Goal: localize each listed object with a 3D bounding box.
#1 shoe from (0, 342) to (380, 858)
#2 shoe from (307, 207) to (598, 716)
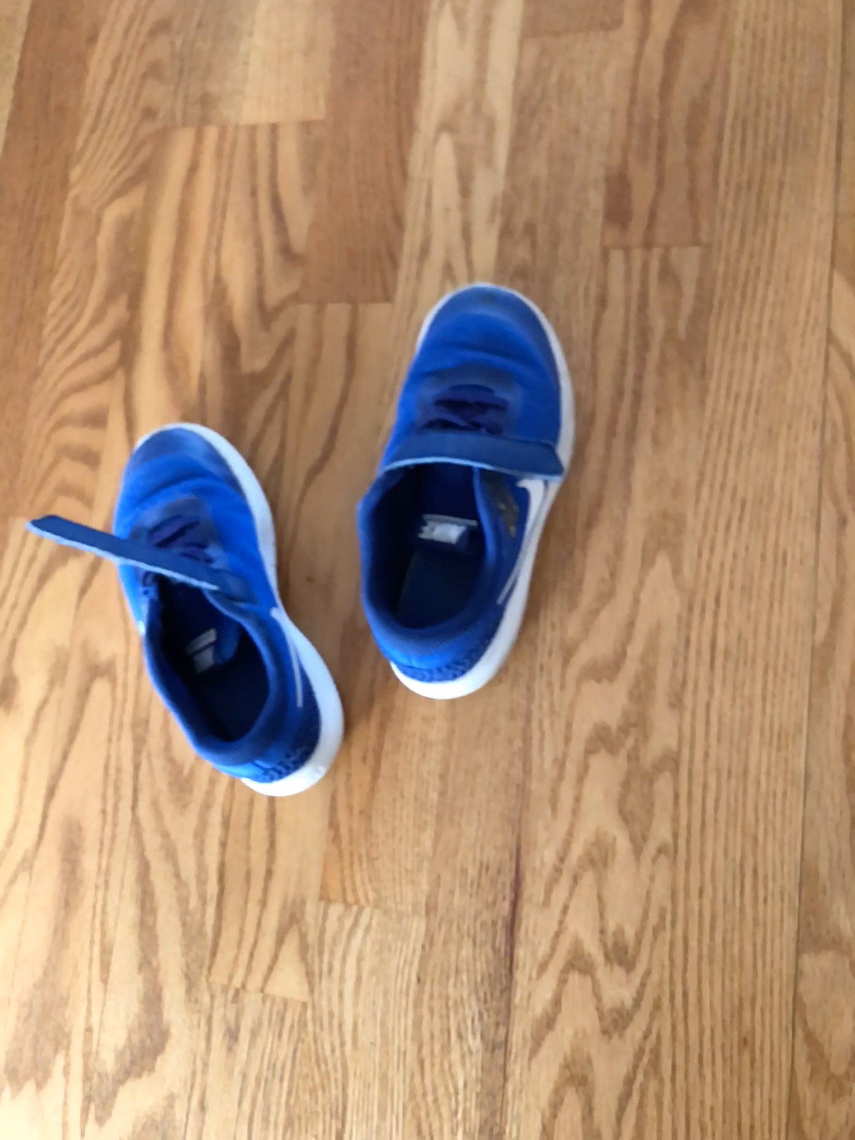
[{"bbox_3d":[-0.117,0.016,0.469,0.093,0.092,0.214,-25,74,10],"label":"shoe"},{"bbox_3d":[0.019,-0.046,0.448,0.093,0.092,0.214,4,81,17],"label":"shoe"}]
